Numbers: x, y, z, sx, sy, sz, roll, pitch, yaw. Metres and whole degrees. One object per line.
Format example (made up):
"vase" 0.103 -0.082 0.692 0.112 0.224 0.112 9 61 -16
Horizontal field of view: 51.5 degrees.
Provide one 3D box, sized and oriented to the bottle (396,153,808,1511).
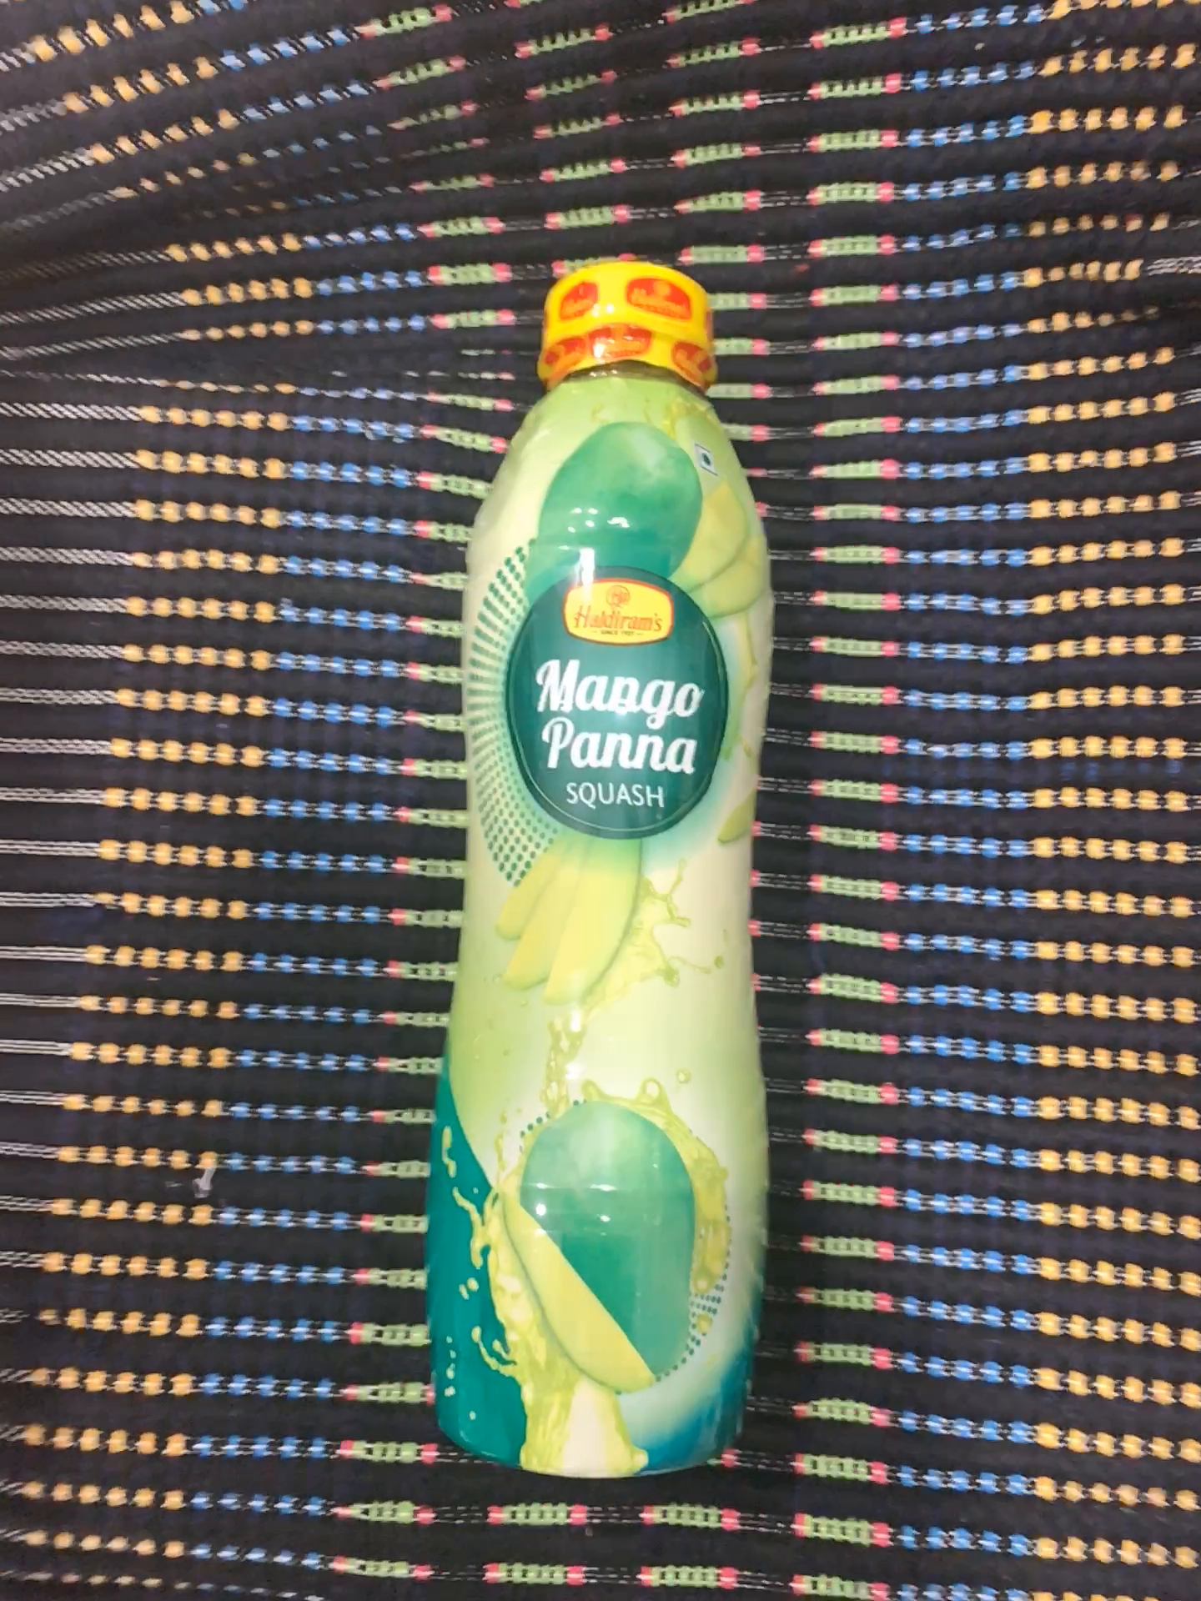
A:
"bottle" 0.003 -0.002 0.272 0.070 0.050 0.270 3 79 -4
